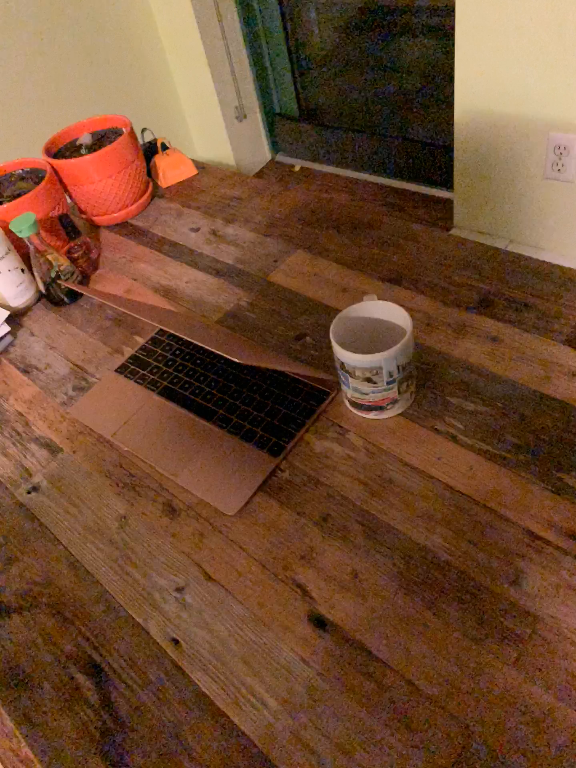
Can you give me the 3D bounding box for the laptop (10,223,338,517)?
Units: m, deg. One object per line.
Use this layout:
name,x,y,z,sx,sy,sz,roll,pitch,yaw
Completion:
laptop,-0.120,-0.032,0.652,0.279,0.145,0.194,24,59,32
